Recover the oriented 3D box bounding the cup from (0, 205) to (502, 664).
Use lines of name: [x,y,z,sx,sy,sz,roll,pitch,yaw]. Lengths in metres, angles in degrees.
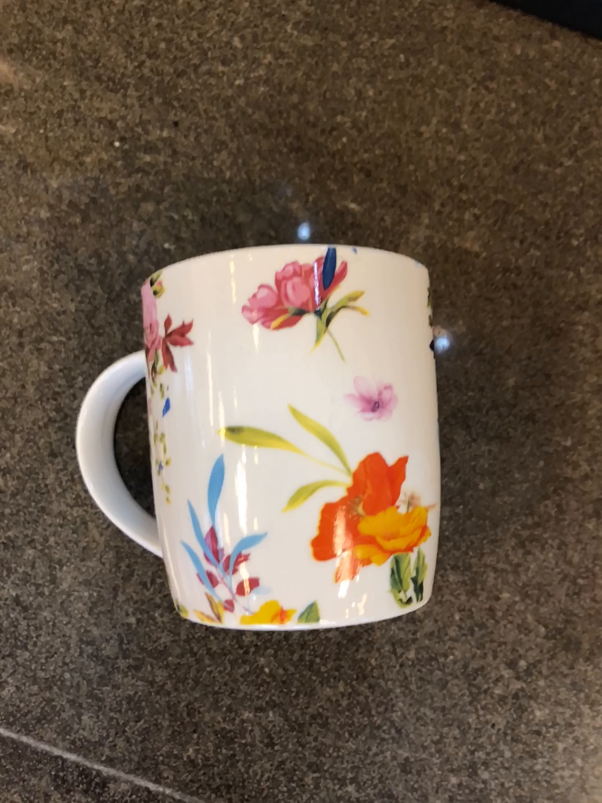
cup: [-0.017,0.014,0.198,0.120,0.080,0.090,-8,82,32]
